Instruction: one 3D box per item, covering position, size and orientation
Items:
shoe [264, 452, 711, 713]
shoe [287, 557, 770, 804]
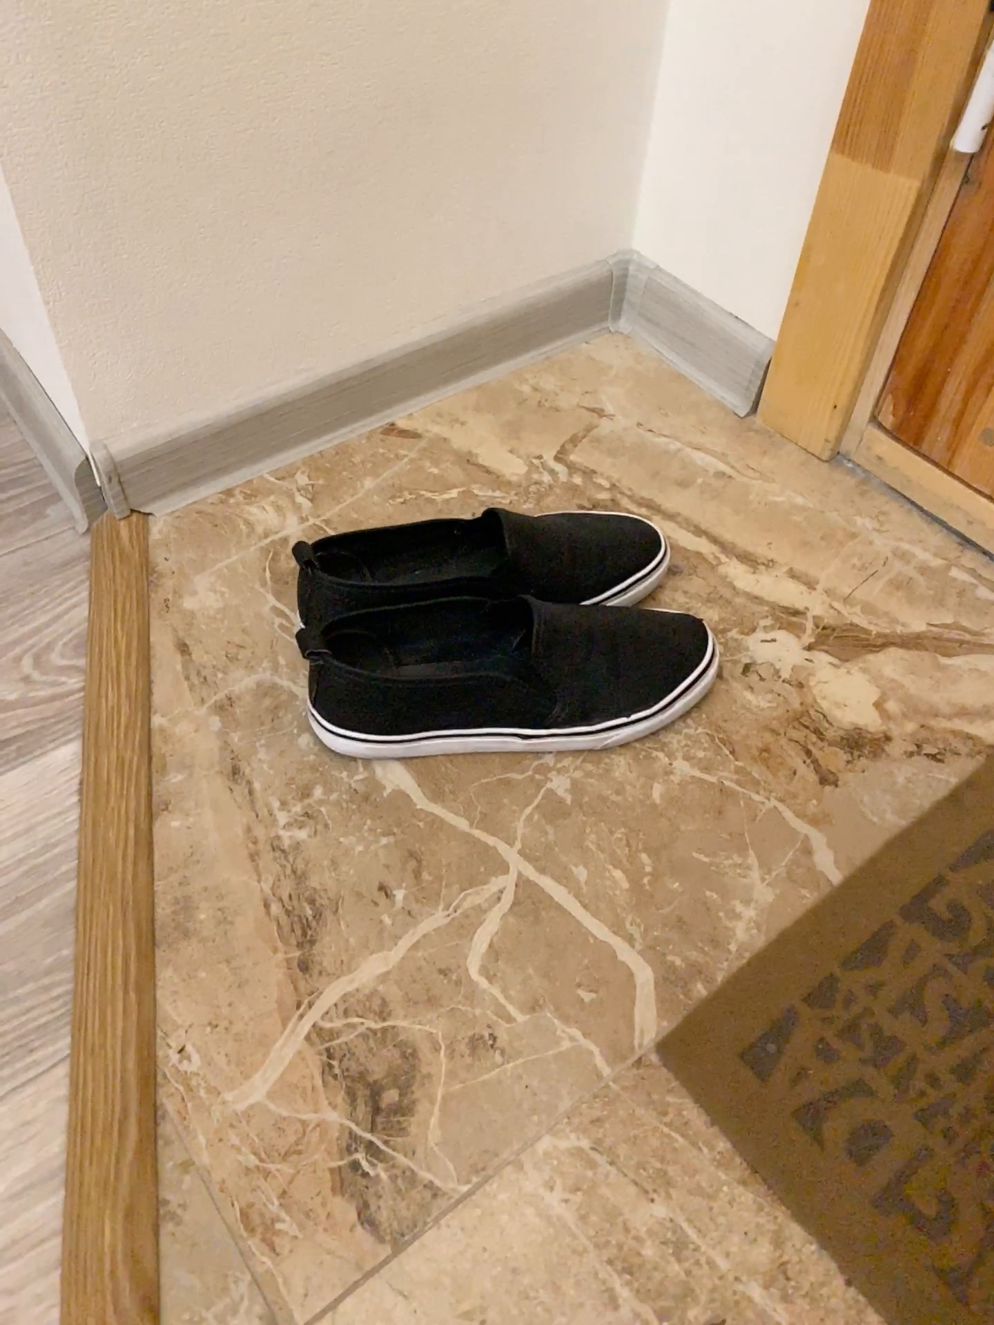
[{"bbox_3d":[-0.005,-0.054,0.629,0.250,0.060,0.090,-15,52,-16],"label":"shoe"},{"bbox_3d":[0.014,0.007,0.579,0.250,0.060,0.090,-8,50,-10],"label":"shoe"}]
